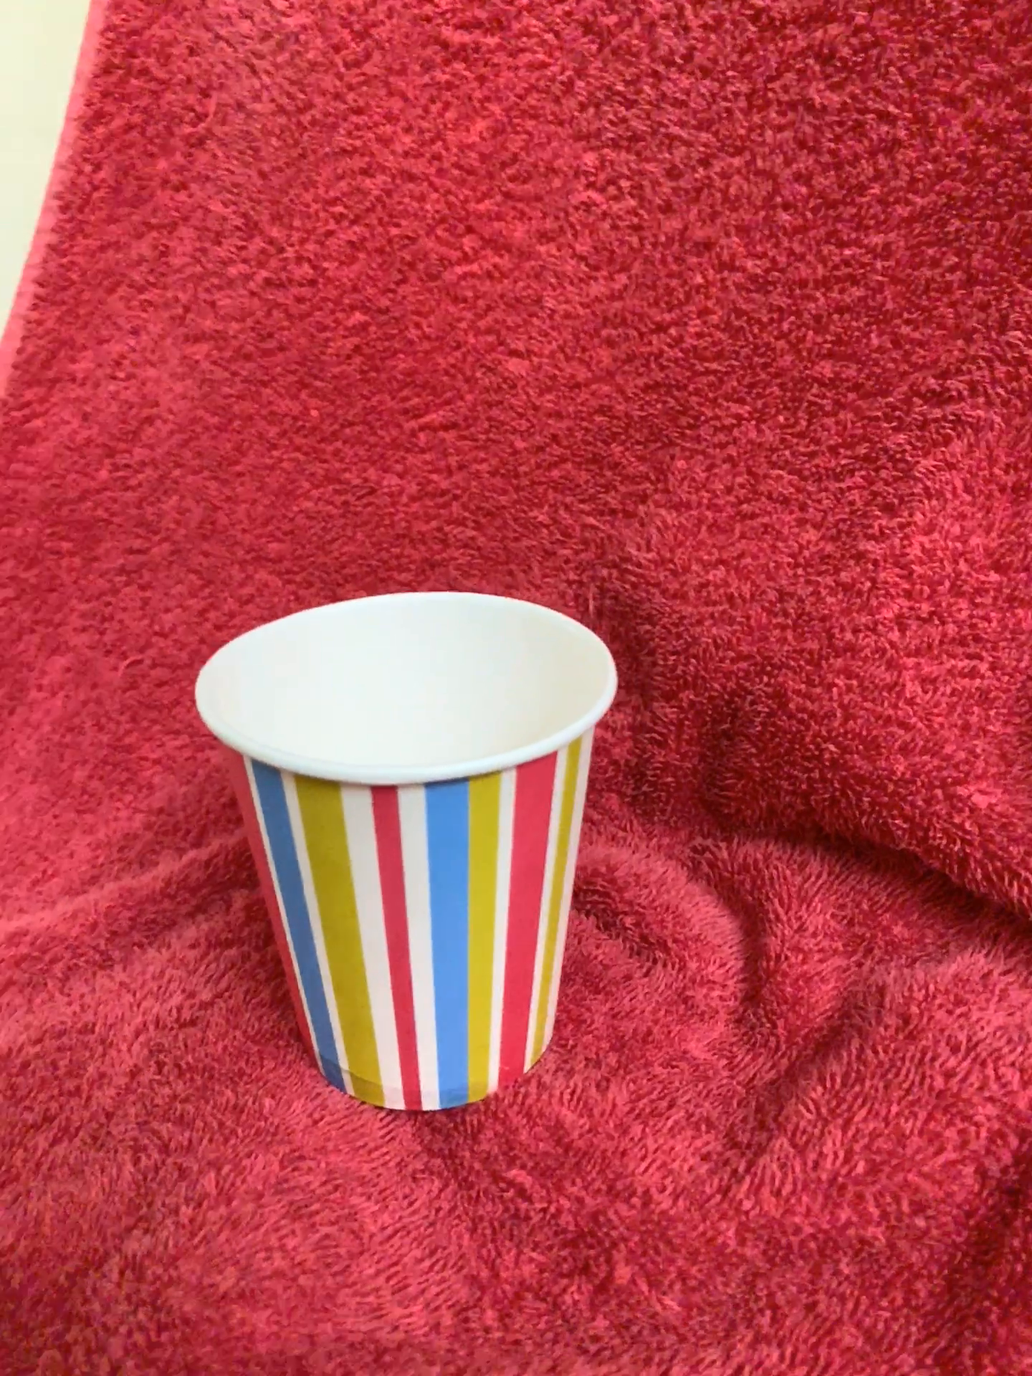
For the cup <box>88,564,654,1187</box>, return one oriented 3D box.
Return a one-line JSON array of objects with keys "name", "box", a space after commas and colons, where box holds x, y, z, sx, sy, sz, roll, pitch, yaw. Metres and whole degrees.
[{"name": "cup", "box": [-0.016, 0.025, 0.184, 0.070, 0.069, 0.071, -1, 25, 0]}]
